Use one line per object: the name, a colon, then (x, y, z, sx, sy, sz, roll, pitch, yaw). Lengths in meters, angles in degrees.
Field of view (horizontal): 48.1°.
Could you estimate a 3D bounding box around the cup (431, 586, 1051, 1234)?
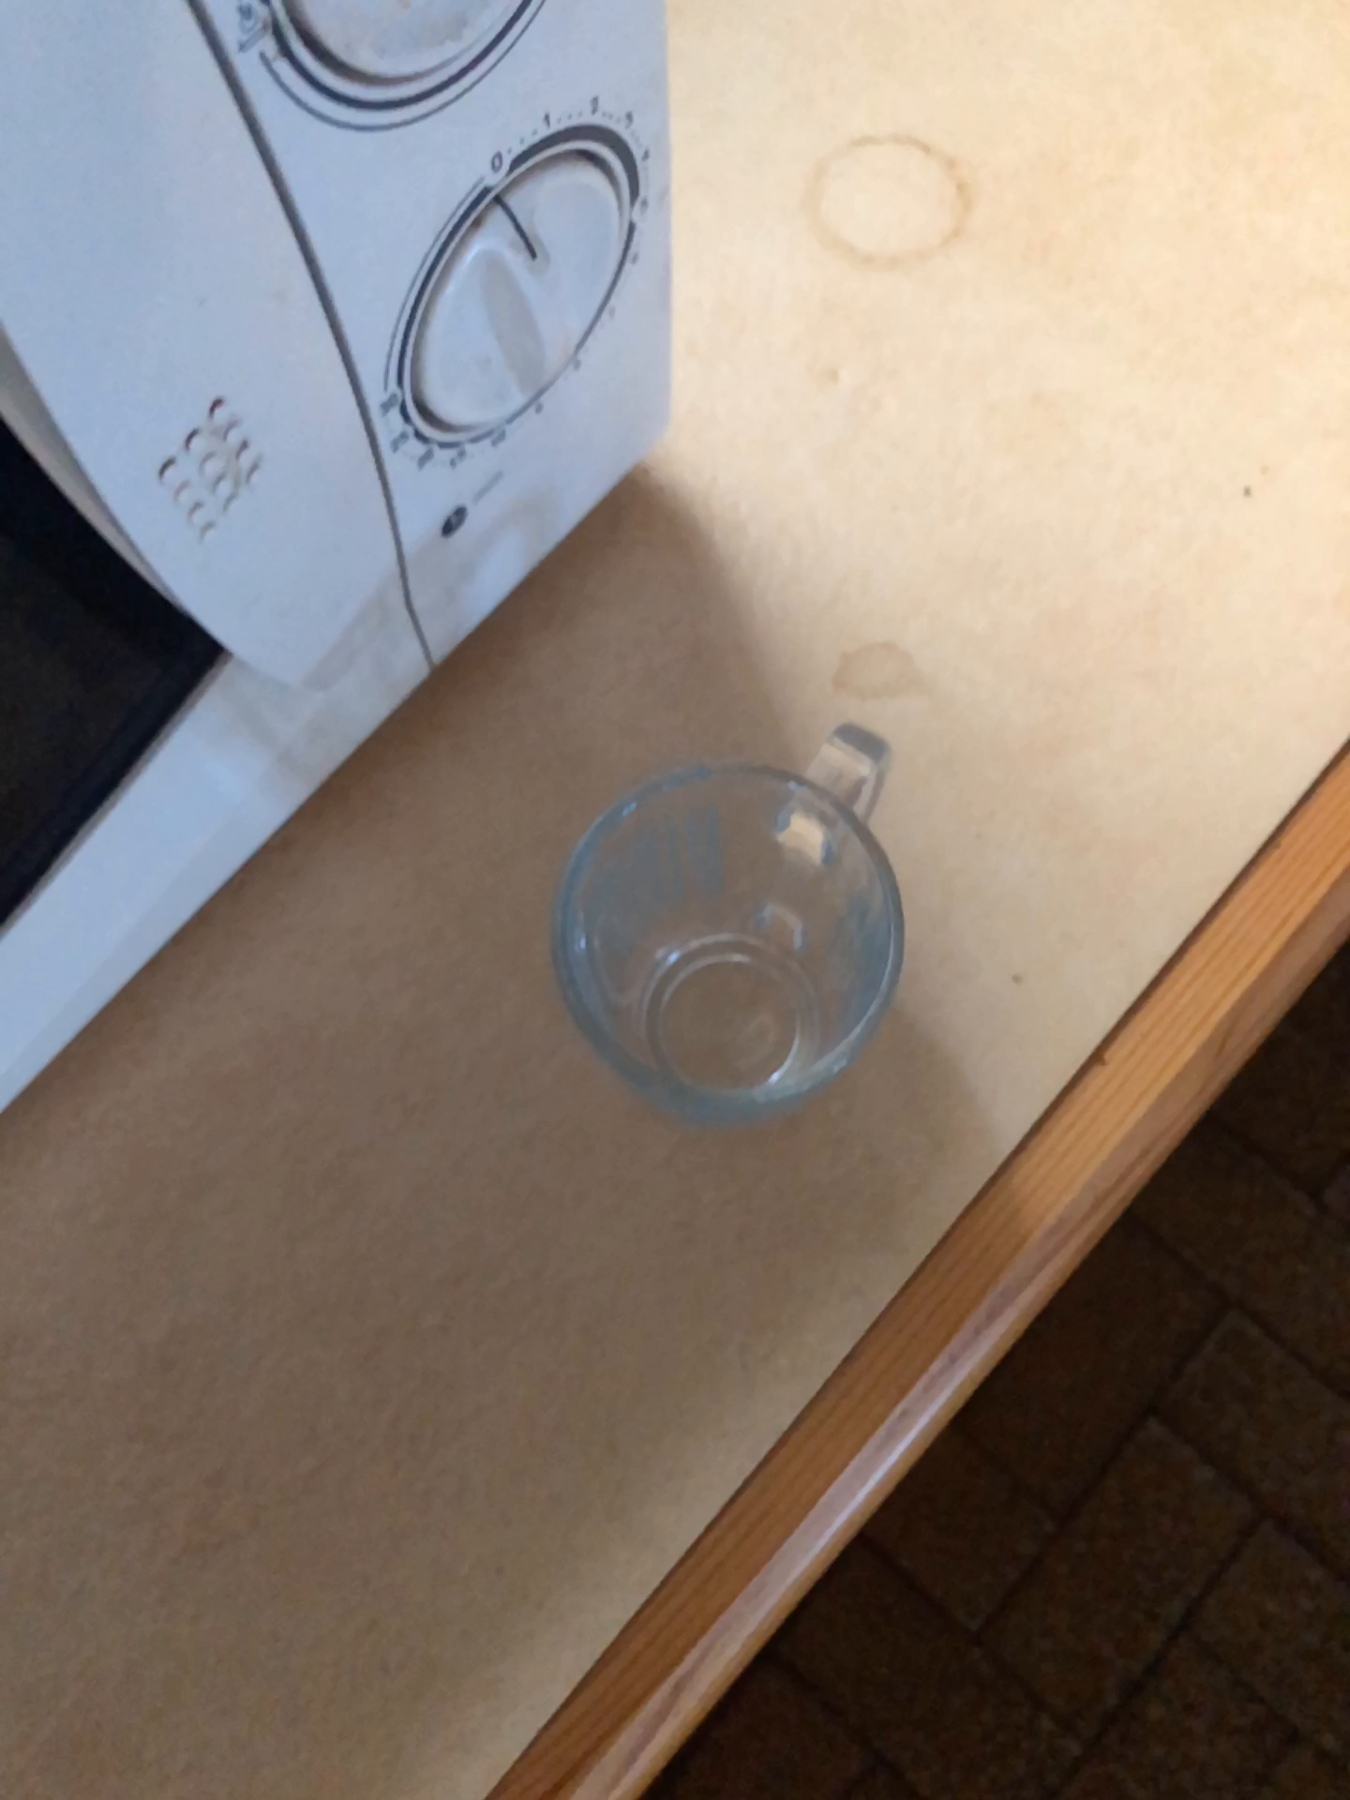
cup: (0.012, 0.006, 0.269, 0.060, 0.070, 0.080, 38, 78, 12)
